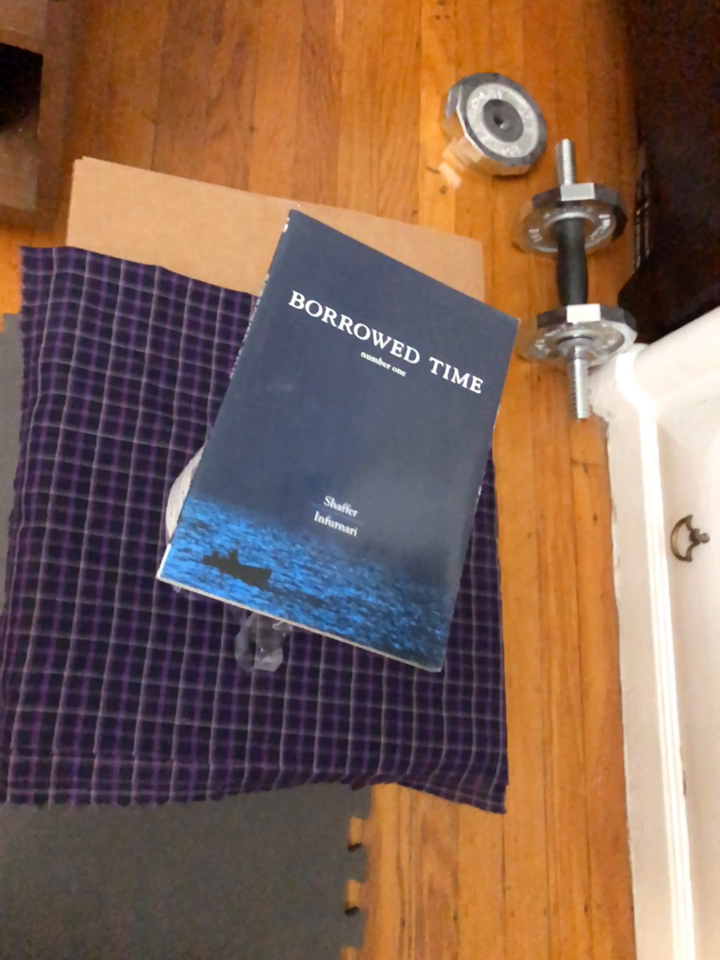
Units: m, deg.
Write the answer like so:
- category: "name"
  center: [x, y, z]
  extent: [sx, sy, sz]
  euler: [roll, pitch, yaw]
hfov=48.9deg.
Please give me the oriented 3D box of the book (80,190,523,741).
- category: "book"
  center: [-0.011, -0.013, 0.384]
  extent: [0.160, 0.010, 0.231]
  euler: [24, 66, -16]
